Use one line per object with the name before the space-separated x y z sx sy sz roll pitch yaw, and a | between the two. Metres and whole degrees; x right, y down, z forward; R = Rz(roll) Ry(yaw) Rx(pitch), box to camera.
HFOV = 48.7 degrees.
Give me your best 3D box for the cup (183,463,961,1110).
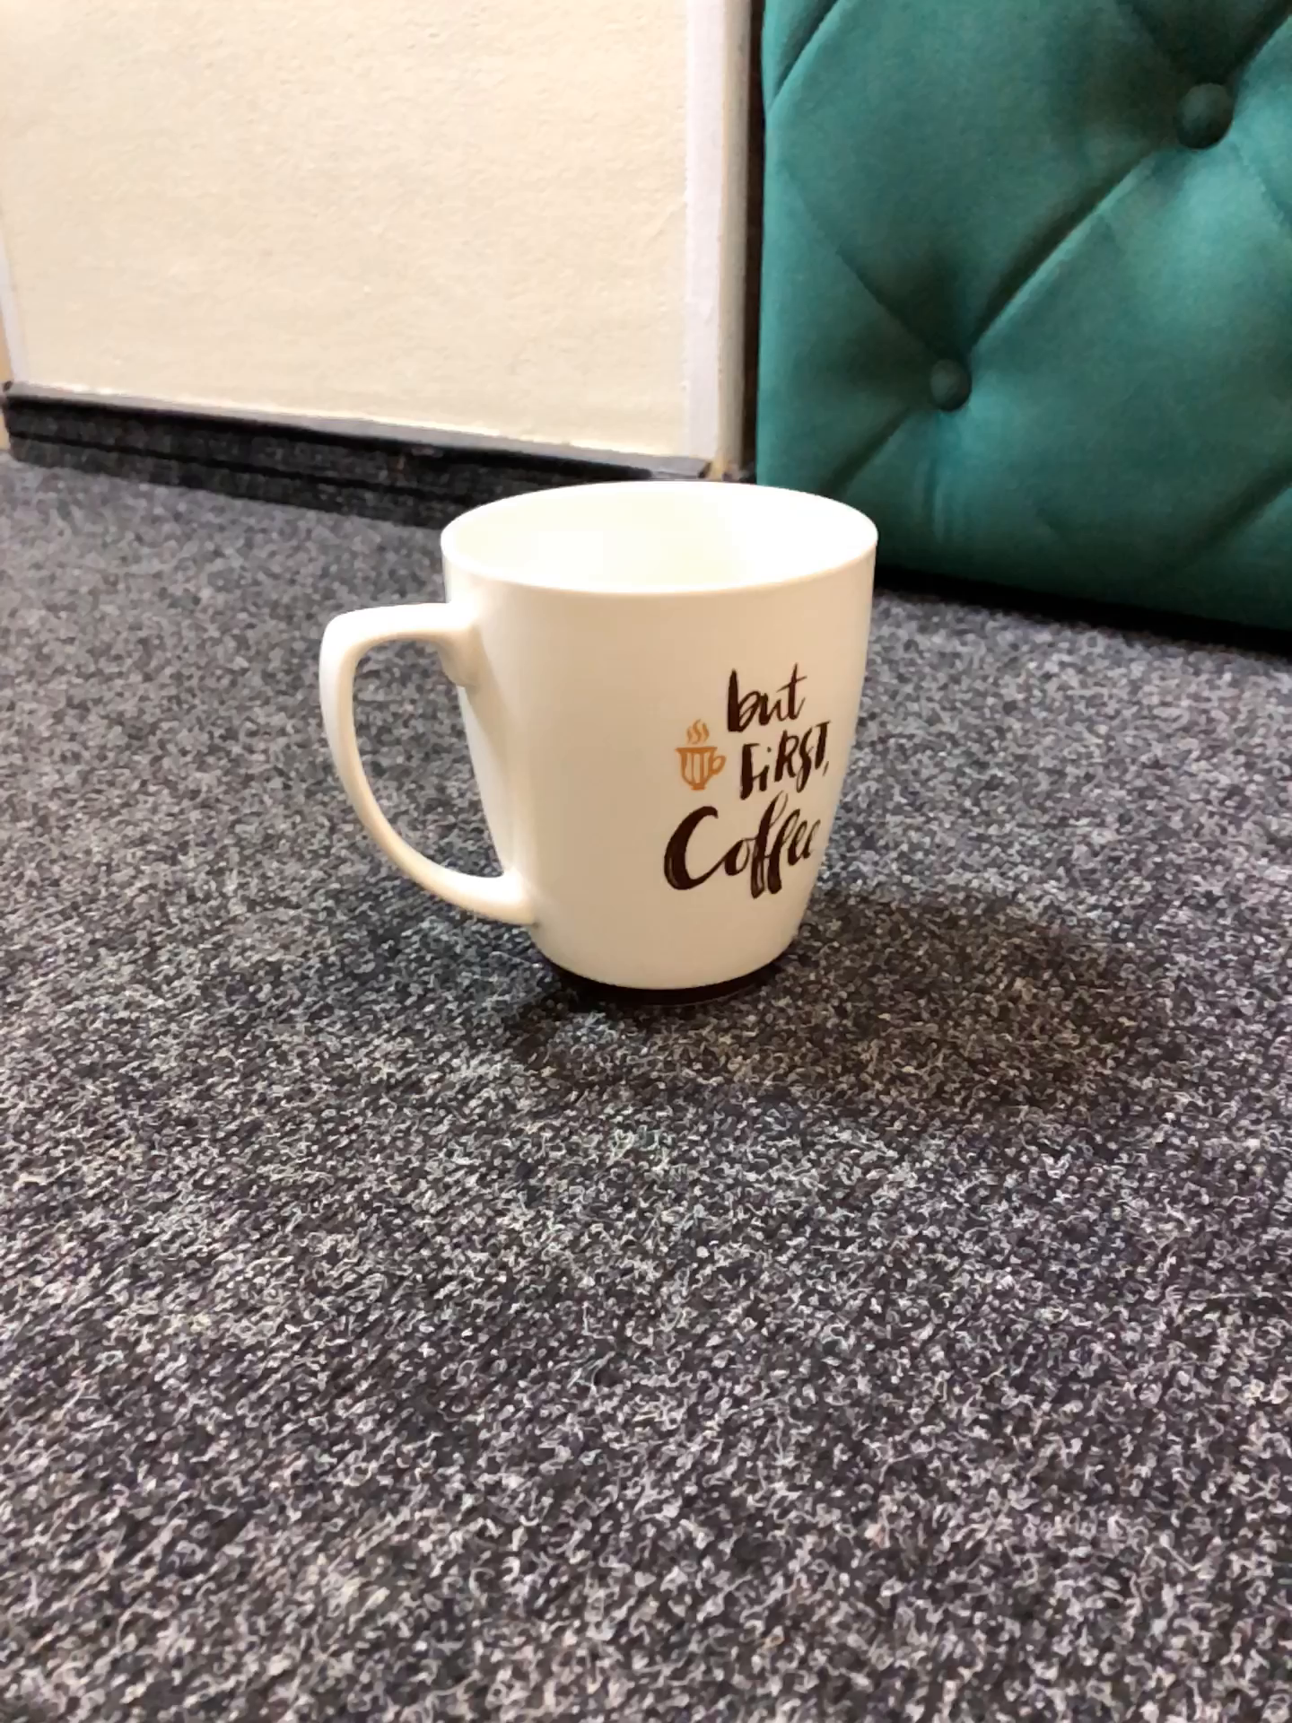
cup | -0.018 -0.032 0.354 0.146 0.100 0.110 -17 30 -31
